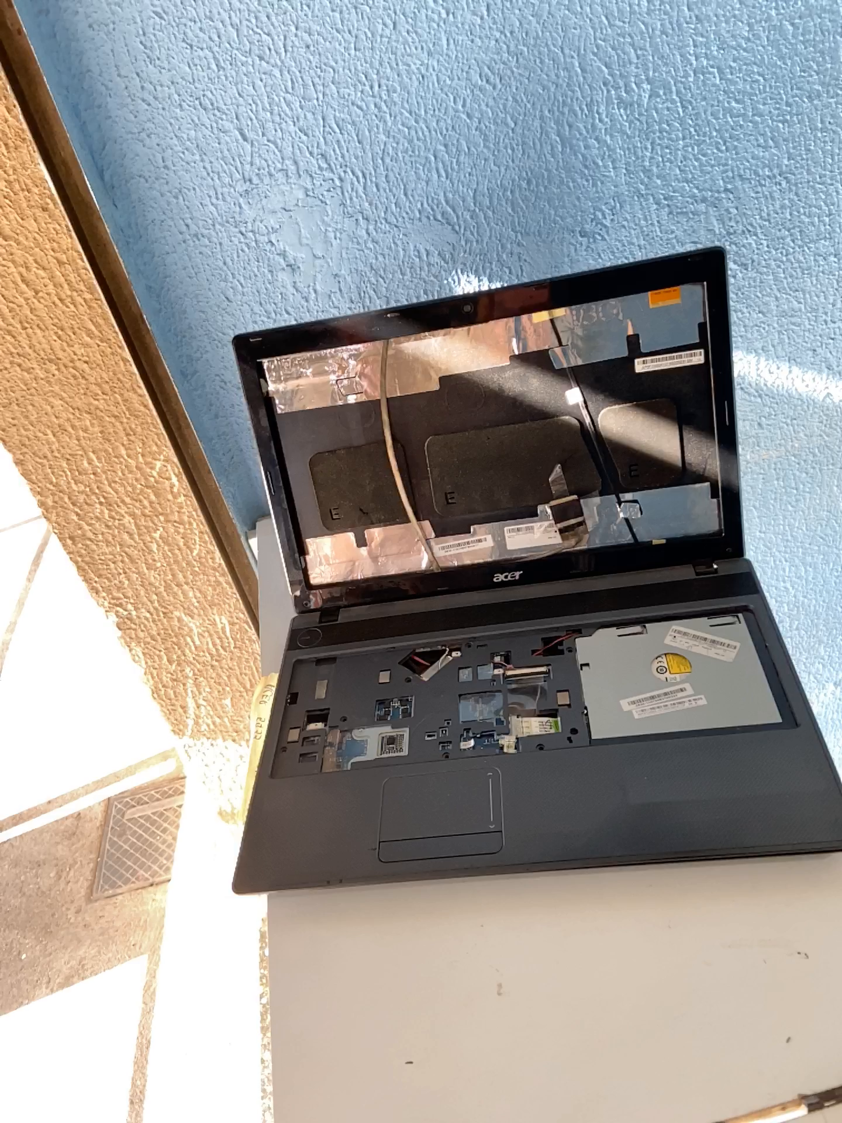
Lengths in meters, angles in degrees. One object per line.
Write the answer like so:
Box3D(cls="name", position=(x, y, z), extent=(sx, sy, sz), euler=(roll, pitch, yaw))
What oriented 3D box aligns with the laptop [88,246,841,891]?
Box3D(cls="laptop", position=(0.050, -0.010, 0.587), extent=(0.378, 0.210, 0.351), euler=(-8, 39, 10))
